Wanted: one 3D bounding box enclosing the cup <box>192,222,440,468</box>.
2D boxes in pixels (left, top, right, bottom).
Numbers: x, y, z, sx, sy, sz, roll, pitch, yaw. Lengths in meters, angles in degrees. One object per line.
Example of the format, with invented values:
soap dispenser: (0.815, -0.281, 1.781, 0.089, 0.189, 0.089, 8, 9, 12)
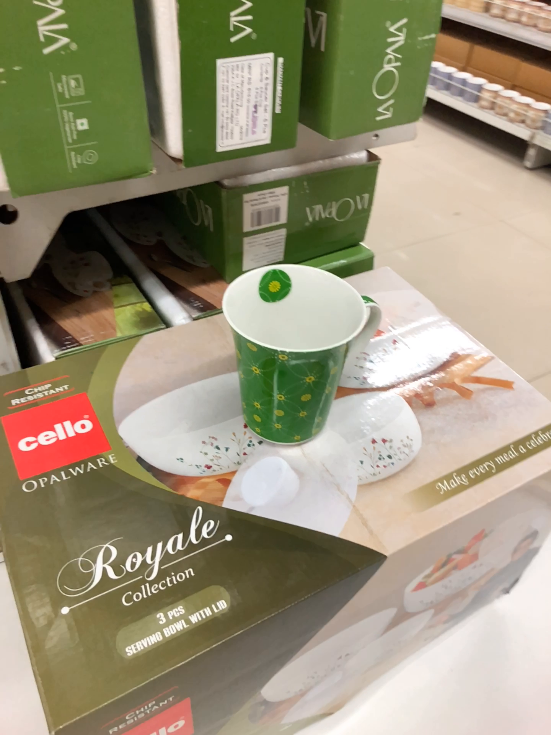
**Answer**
cup: (0.019, -0.018, 0.374, 0.110, 0.089, 0.090, -18, 45, -24)
